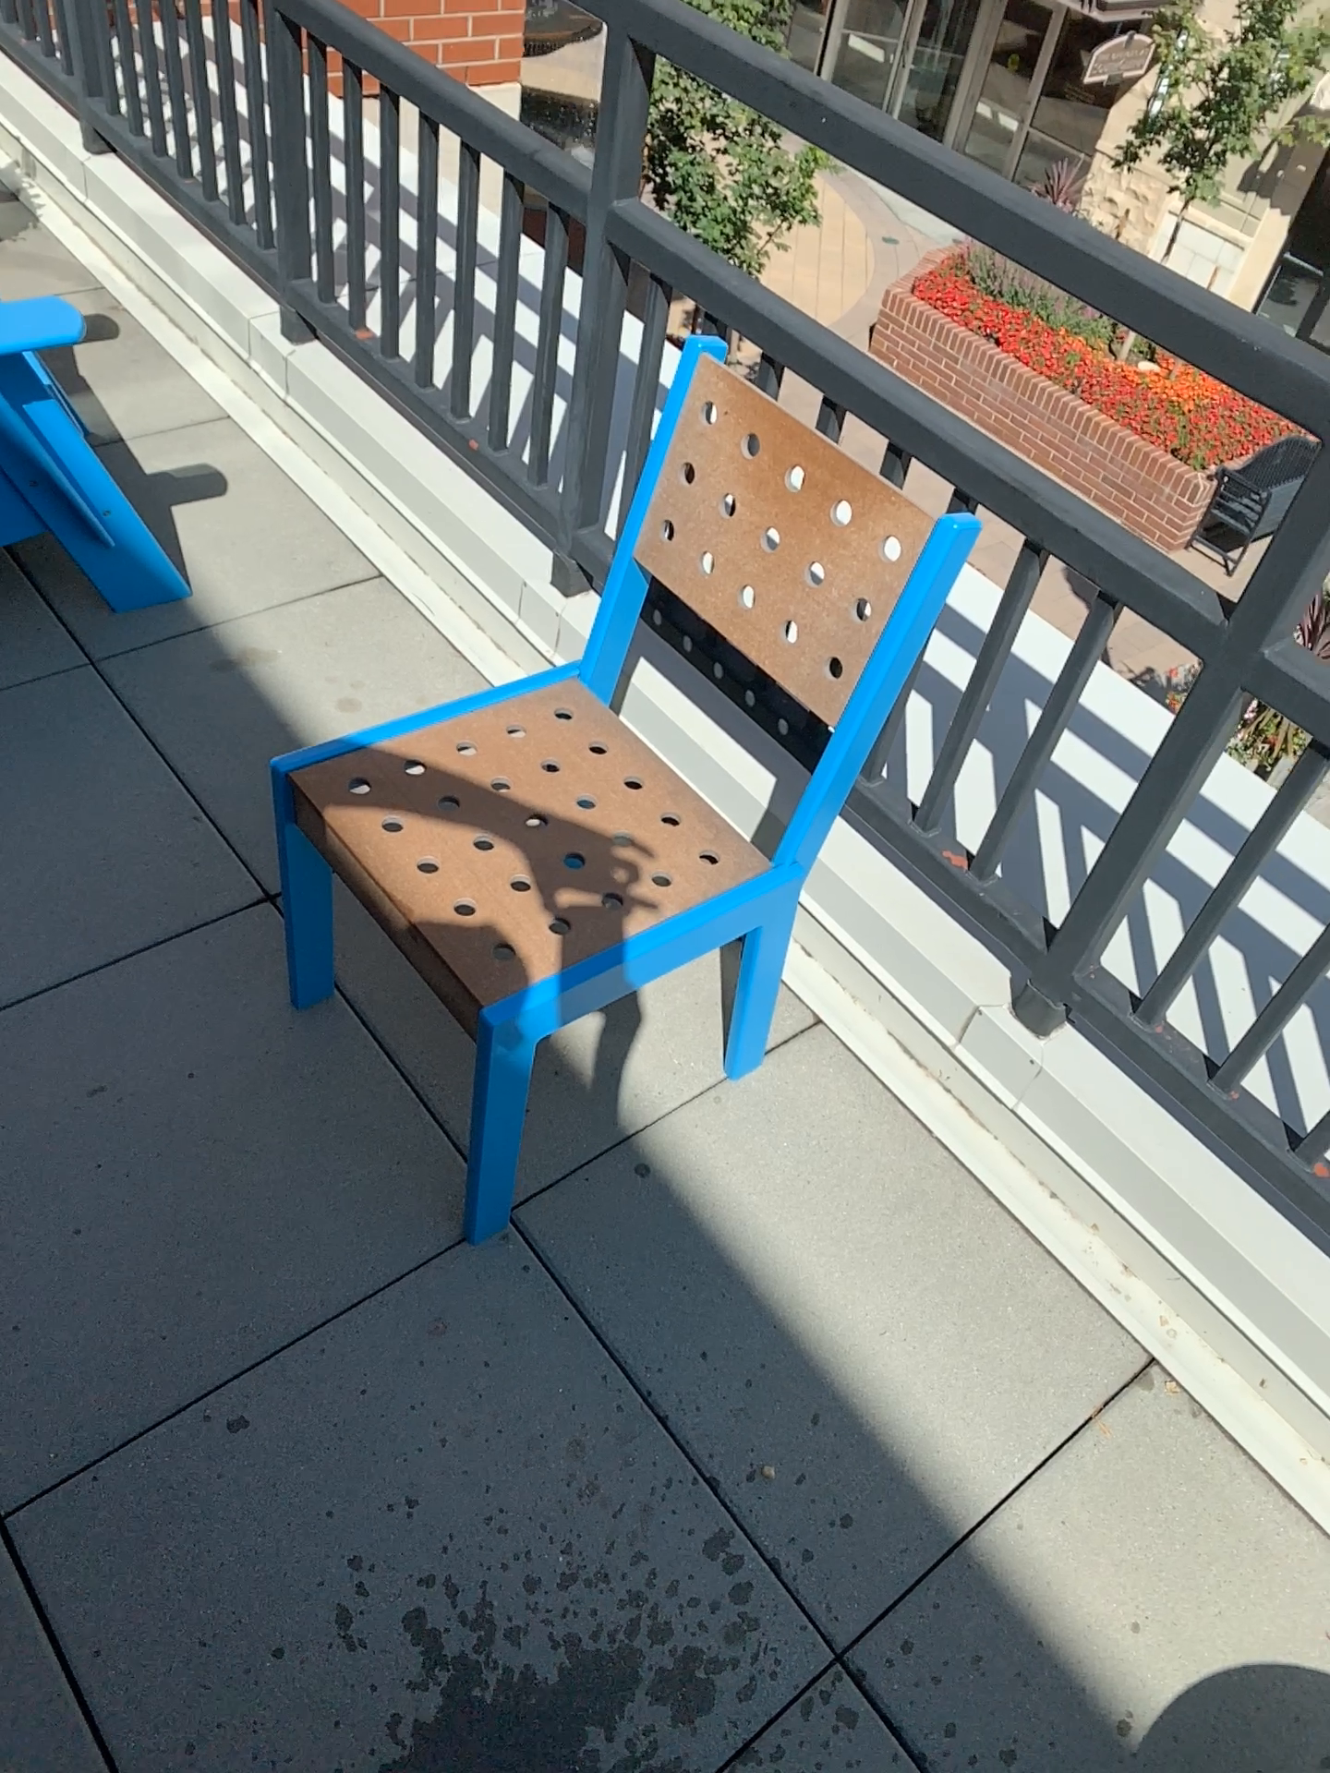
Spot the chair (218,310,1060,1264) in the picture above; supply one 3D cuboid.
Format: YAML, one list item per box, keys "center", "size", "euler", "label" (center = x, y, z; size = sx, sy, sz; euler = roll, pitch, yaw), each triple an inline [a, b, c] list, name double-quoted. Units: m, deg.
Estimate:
- center: [-0.070, -0.111, 1.610]
  size: [0.672, 0.856, 0.471]
  euler: [-25, 57, -31]
  label: "chair"
